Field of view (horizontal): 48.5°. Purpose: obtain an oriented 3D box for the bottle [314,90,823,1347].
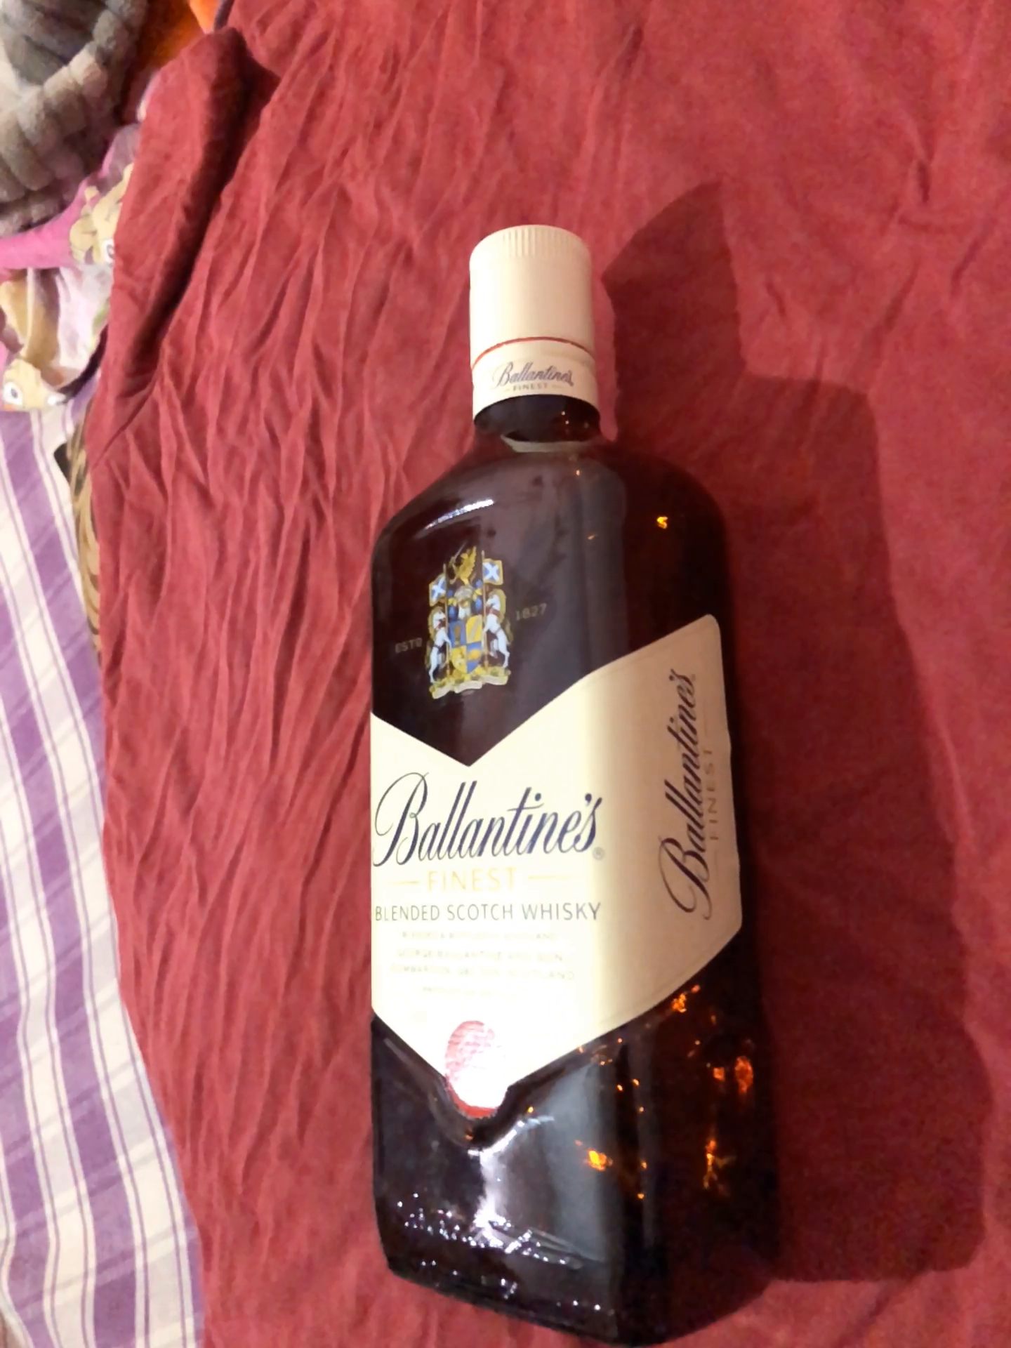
[{"bbox_3d":[0.007,0.011,0.258,0.090,0.050,0.250,-11,77,40],"label":"bottle"}]
